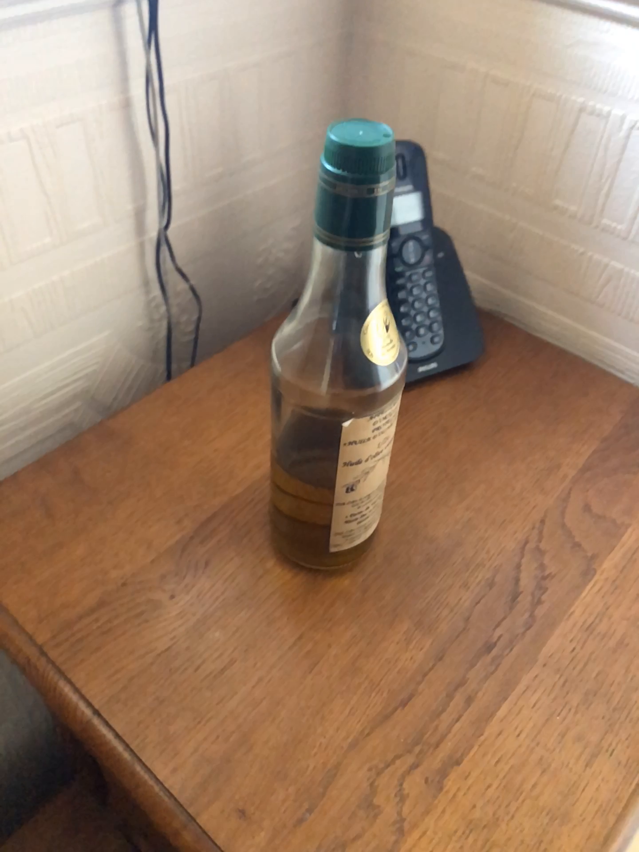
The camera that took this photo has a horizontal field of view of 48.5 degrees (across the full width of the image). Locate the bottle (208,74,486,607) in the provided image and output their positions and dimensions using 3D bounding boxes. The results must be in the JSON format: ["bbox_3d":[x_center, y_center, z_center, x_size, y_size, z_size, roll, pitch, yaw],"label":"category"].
[{"bbox_3d":[0.005,-0.023,0.361,0.080,0.258,0.070,33,52,26],"label":"bottle"}]
